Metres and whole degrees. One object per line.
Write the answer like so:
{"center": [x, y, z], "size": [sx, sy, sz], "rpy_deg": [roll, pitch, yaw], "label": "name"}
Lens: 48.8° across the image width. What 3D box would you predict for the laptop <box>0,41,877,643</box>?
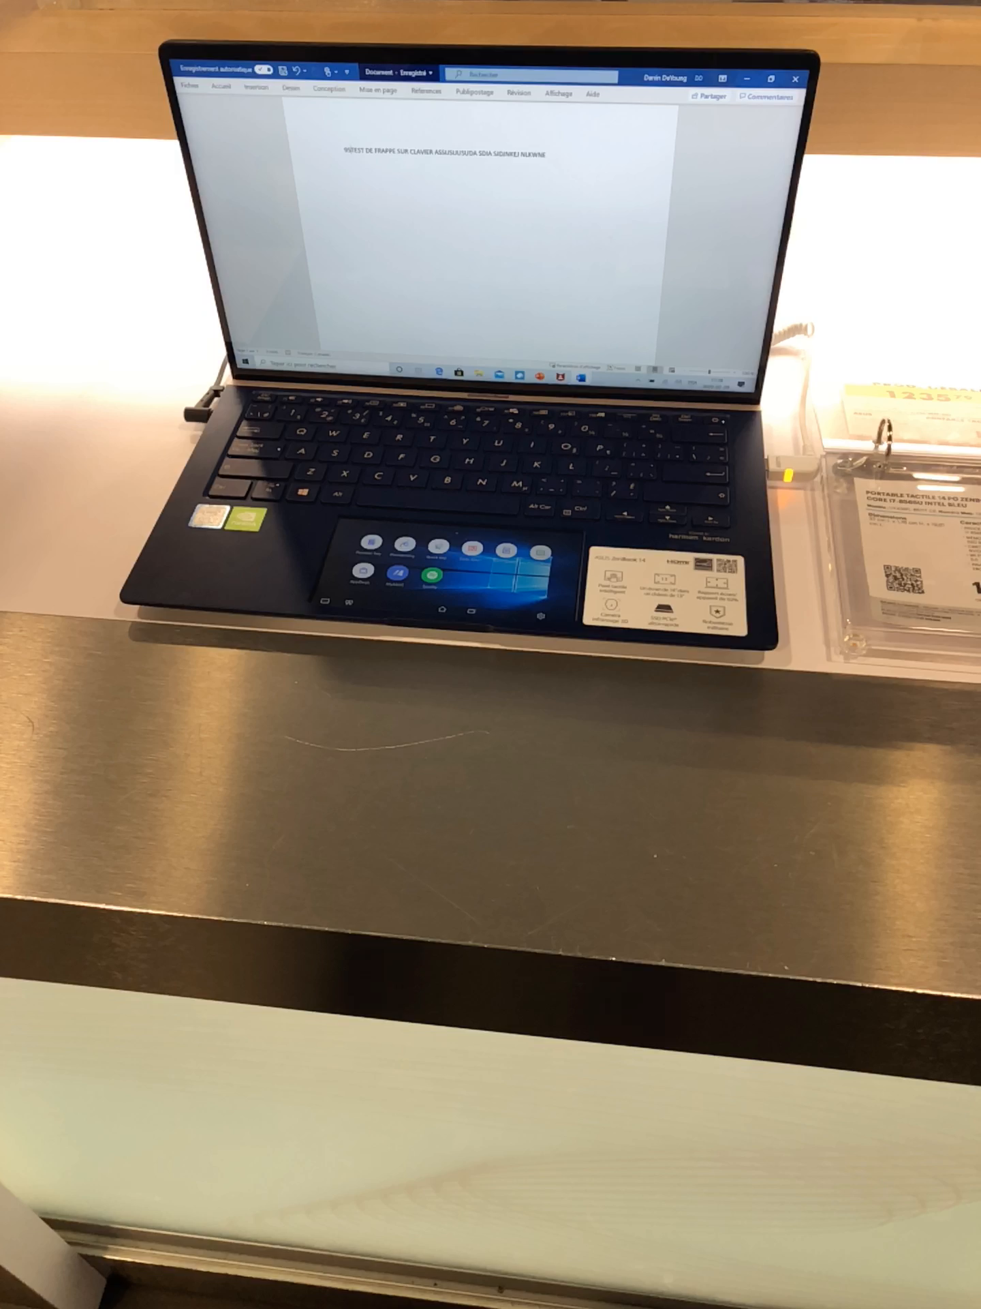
{"center": [-0.015, -0.152, 0.511], "size": [0.317, 0.193, 0.200], "rpy_deg": [4, 47, 6], "label": "laptop"}
